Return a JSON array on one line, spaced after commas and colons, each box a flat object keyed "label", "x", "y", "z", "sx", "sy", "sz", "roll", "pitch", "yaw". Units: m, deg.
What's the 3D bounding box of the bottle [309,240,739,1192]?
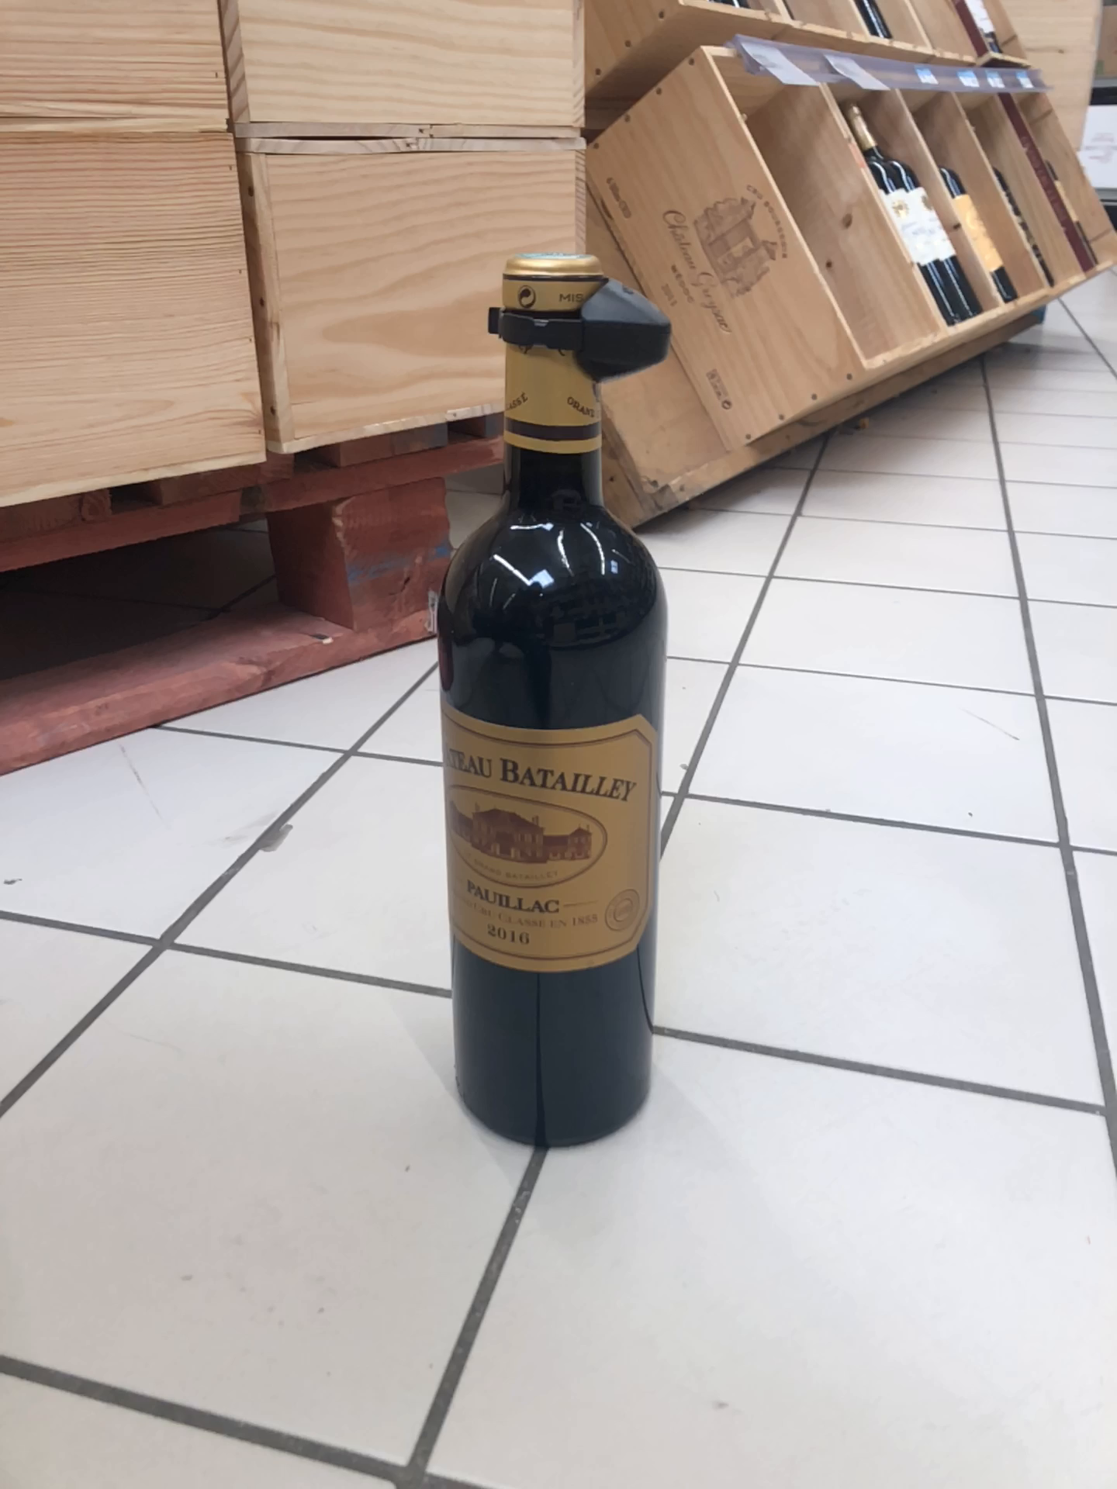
[{"label": "bottle", "x": -0.006, "y": -0.007, "z": 0.403, "sx": 0.090, "sy": 0.288, "sz": 0.091, "roll": 0, "pitch": 25, "yaw": 0}]
